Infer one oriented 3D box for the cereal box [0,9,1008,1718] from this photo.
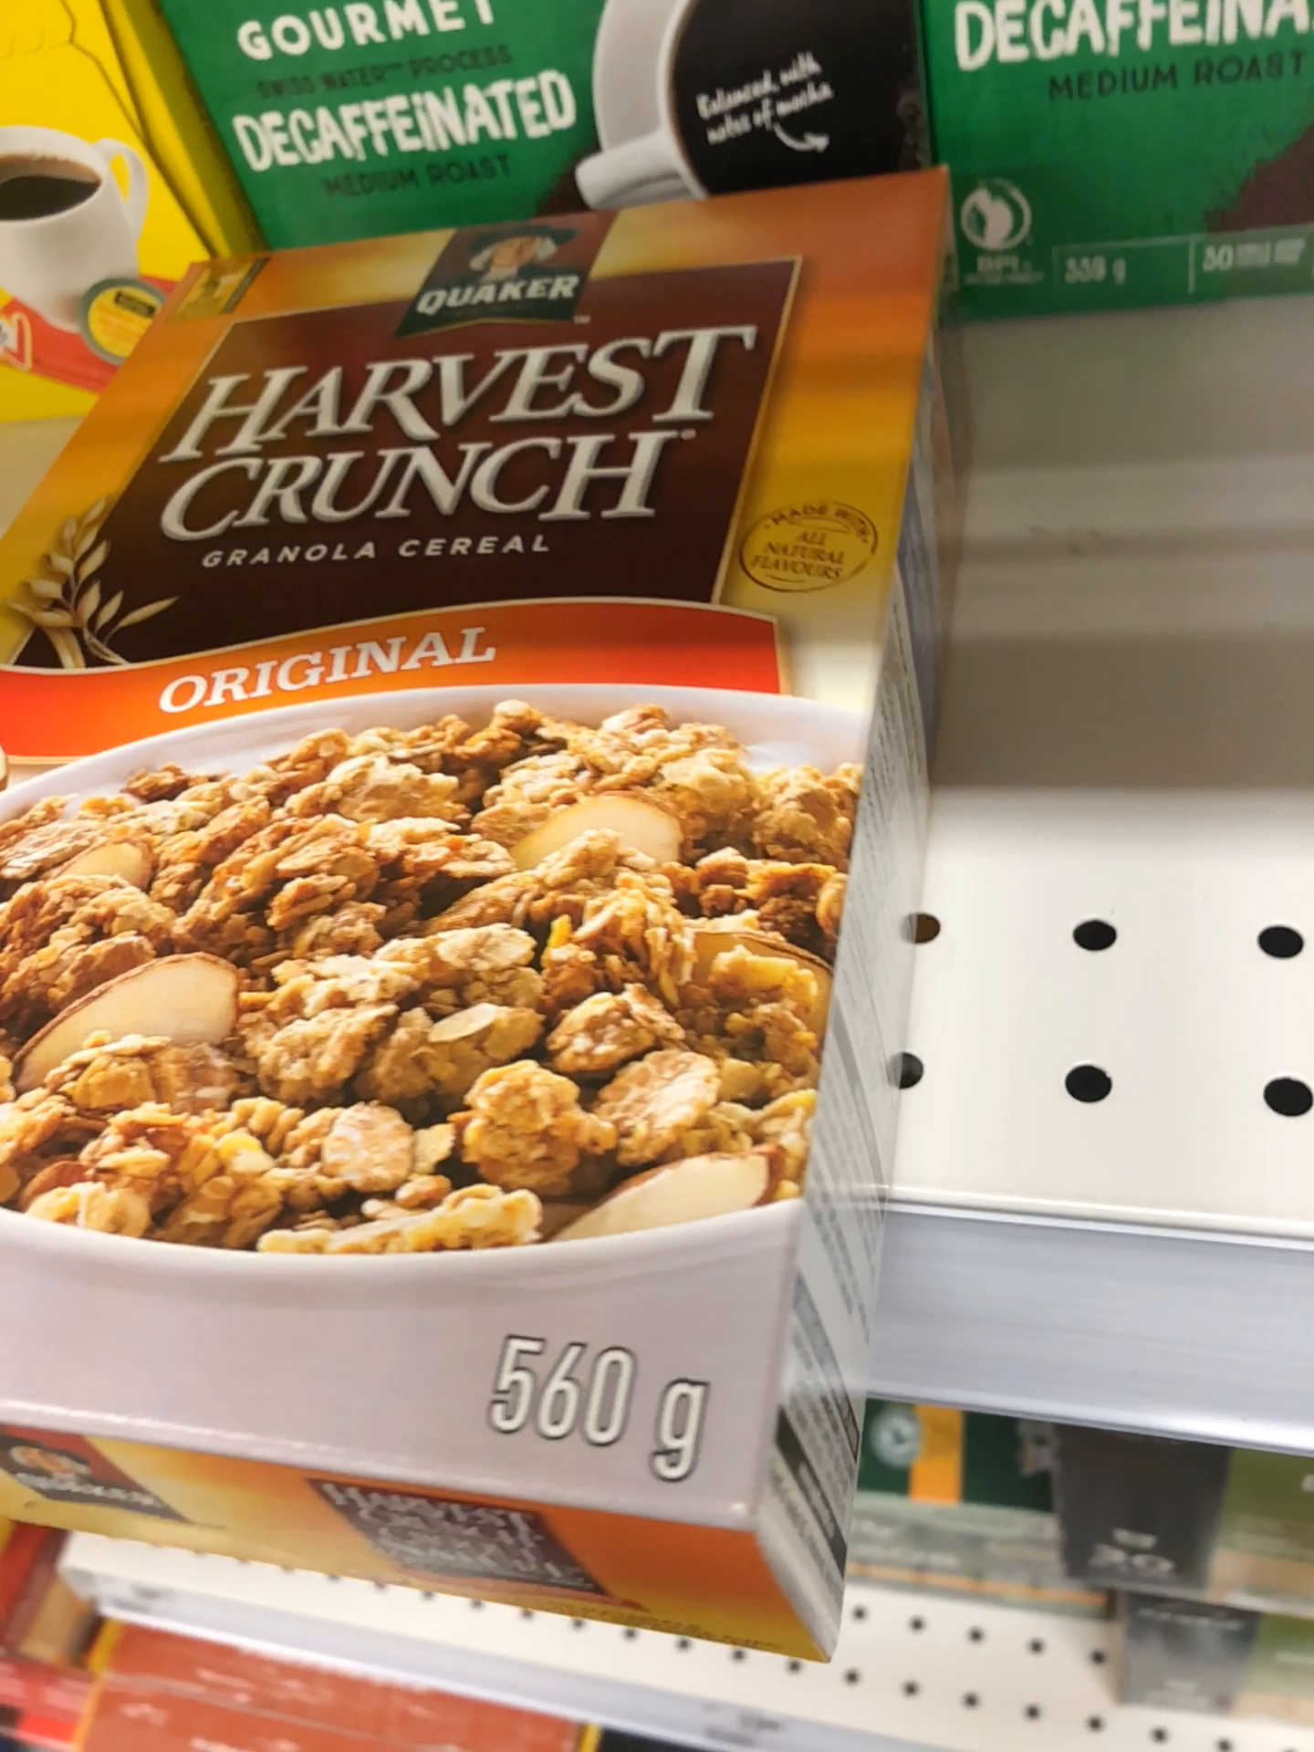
[{"bbox_3d":[-0.039,-0.041,0.240,0.170,0.050,0.281,1,51,17],"label":"cereal box"}]
